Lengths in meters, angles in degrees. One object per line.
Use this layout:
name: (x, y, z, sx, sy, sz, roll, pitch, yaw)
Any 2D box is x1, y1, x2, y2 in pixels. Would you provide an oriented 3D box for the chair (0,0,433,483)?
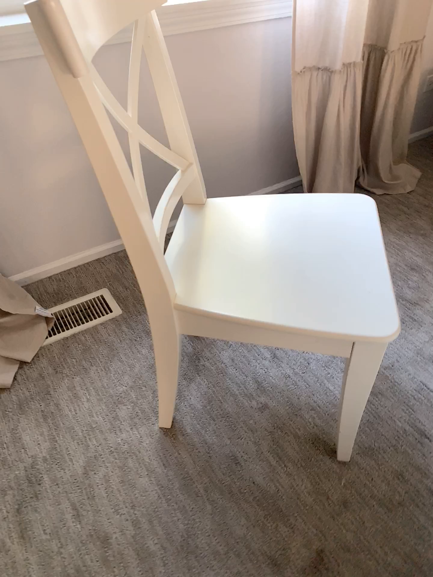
chair: (0.085, -0.149, 0.803, 0.480, 0.855, 0.573, 4, 43, 8)
